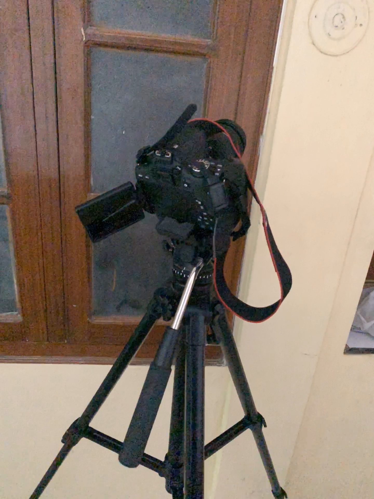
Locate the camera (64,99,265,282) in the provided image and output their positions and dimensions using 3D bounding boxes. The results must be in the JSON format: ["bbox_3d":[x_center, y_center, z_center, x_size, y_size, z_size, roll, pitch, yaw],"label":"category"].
[{"bbox_3d":[-0.011,-0.091,0.488,0.142,0.099,0.226,17,49,27],"label":"camera"}]
